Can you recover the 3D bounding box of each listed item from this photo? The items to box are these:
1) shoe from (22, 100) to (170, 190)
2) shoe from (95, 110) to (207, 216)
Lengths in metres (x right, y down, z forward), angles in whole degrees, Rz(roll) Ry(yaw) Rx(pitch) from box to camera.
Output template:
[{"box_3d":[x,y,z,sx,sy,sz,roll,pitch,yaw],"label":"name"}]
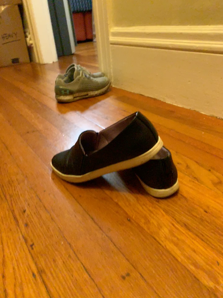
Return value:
[{"box_3d":[-0.033,-0.001,0.432,0.250,0.080,0.100,-14,22,31],"label":"shoe"},{"box_3d":[0.059,0.006,0.482,0.100,0.080,0.262,-15,31,-18],"label":"shoe"}]
